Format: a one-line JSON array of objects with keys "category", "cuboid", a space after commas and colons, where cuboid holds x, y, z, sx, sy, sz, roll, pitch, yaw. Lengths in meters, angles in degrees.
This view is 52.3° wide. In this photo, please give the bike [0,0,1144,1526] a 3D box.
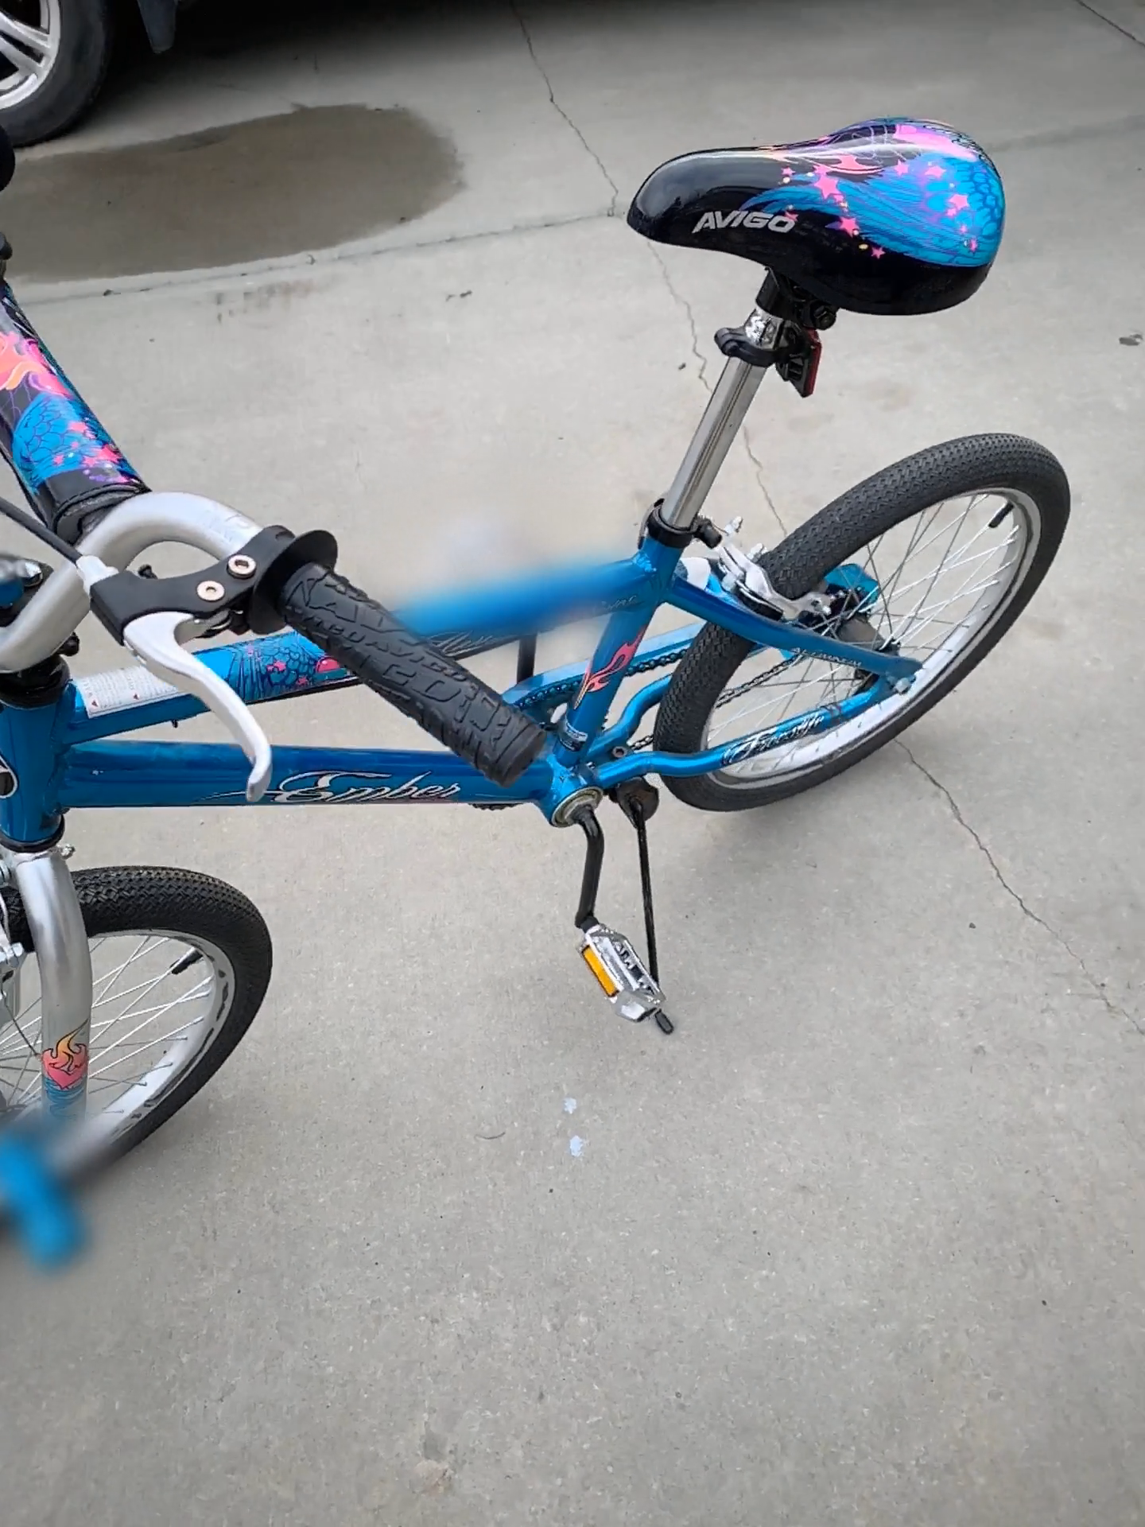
[{"category": "bike", "cuboid": [-0.023, 0.009, 0.865, 1.384, 0.837, 0.684, -27, 53, -21]}]
